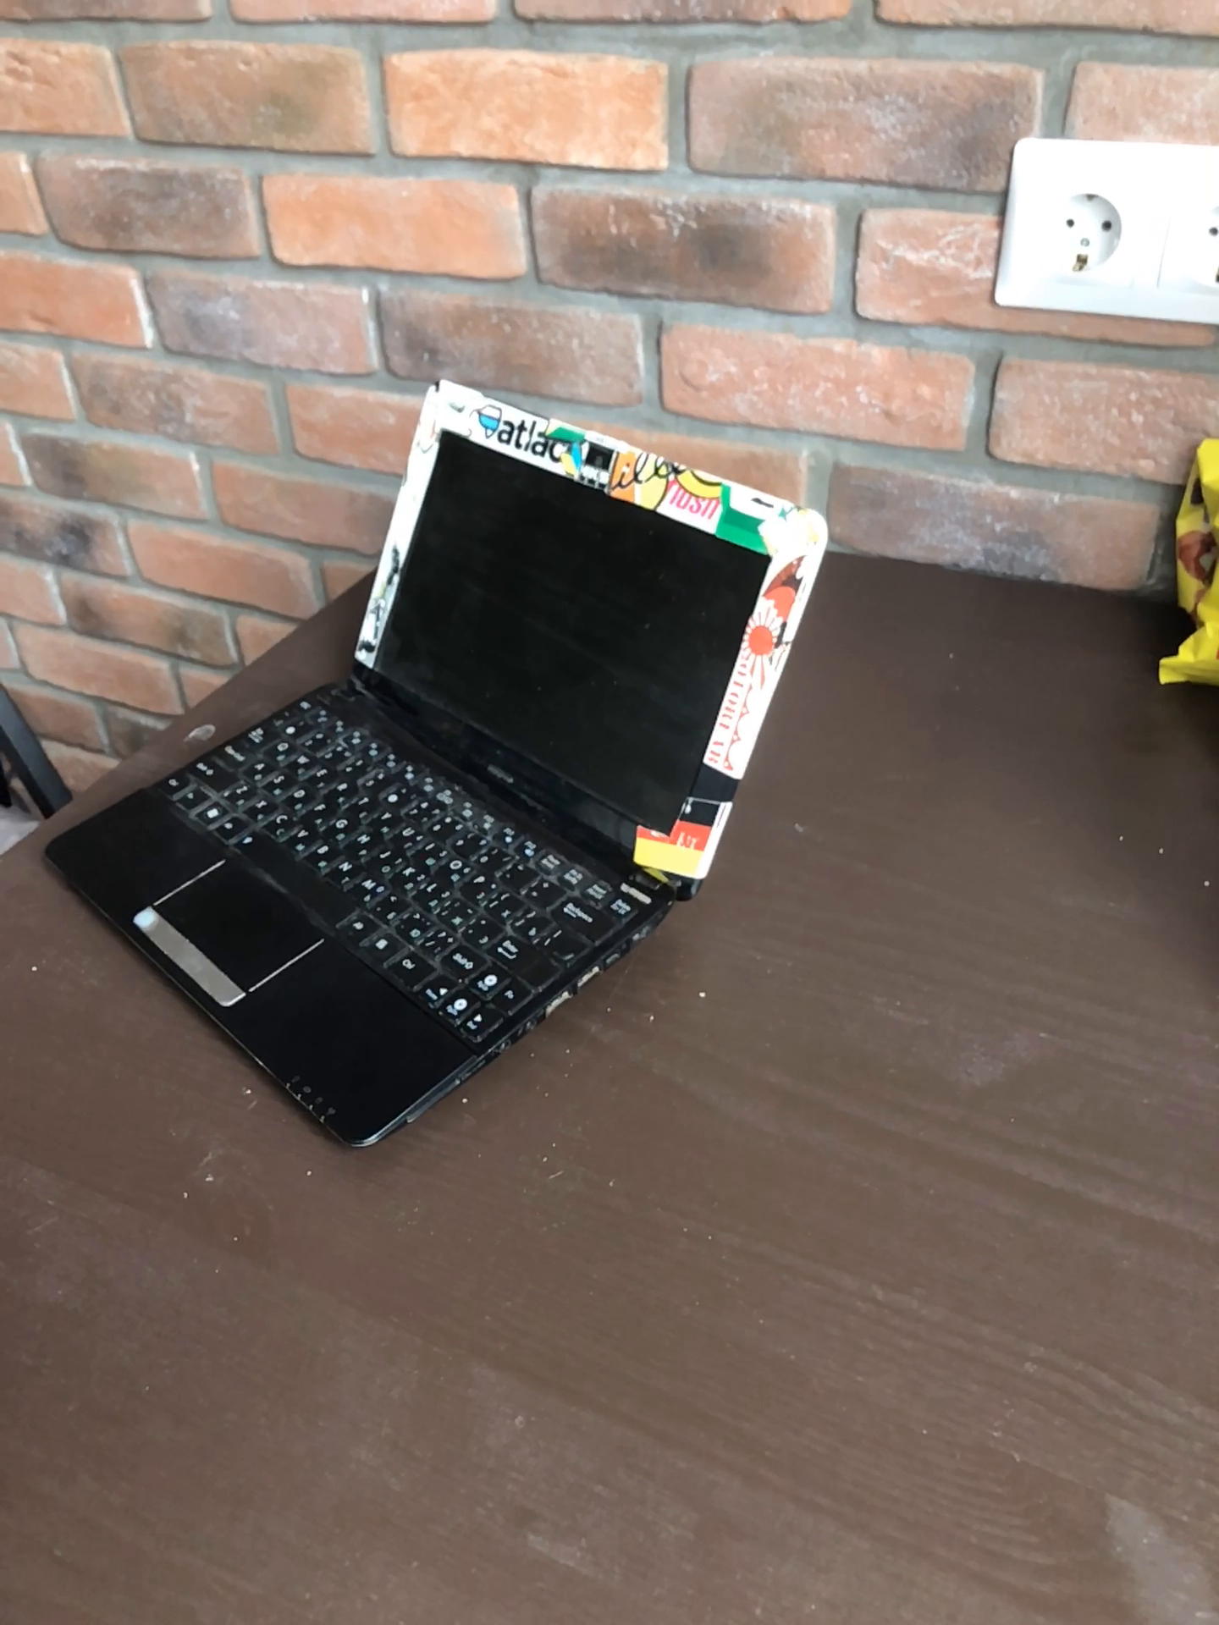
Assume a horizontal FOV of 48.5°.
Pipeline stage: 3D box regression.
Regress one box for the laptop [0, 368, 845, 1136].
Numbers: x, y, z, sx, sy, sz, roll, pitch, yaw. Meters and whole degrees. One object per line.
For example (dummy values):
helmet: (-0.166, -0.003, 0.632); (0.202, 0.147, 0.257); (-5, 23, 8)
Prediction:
laptop: (-0.091, -0.055, 0.588); (0.268, 0.140, 0.258); (-33, 45, -30)
